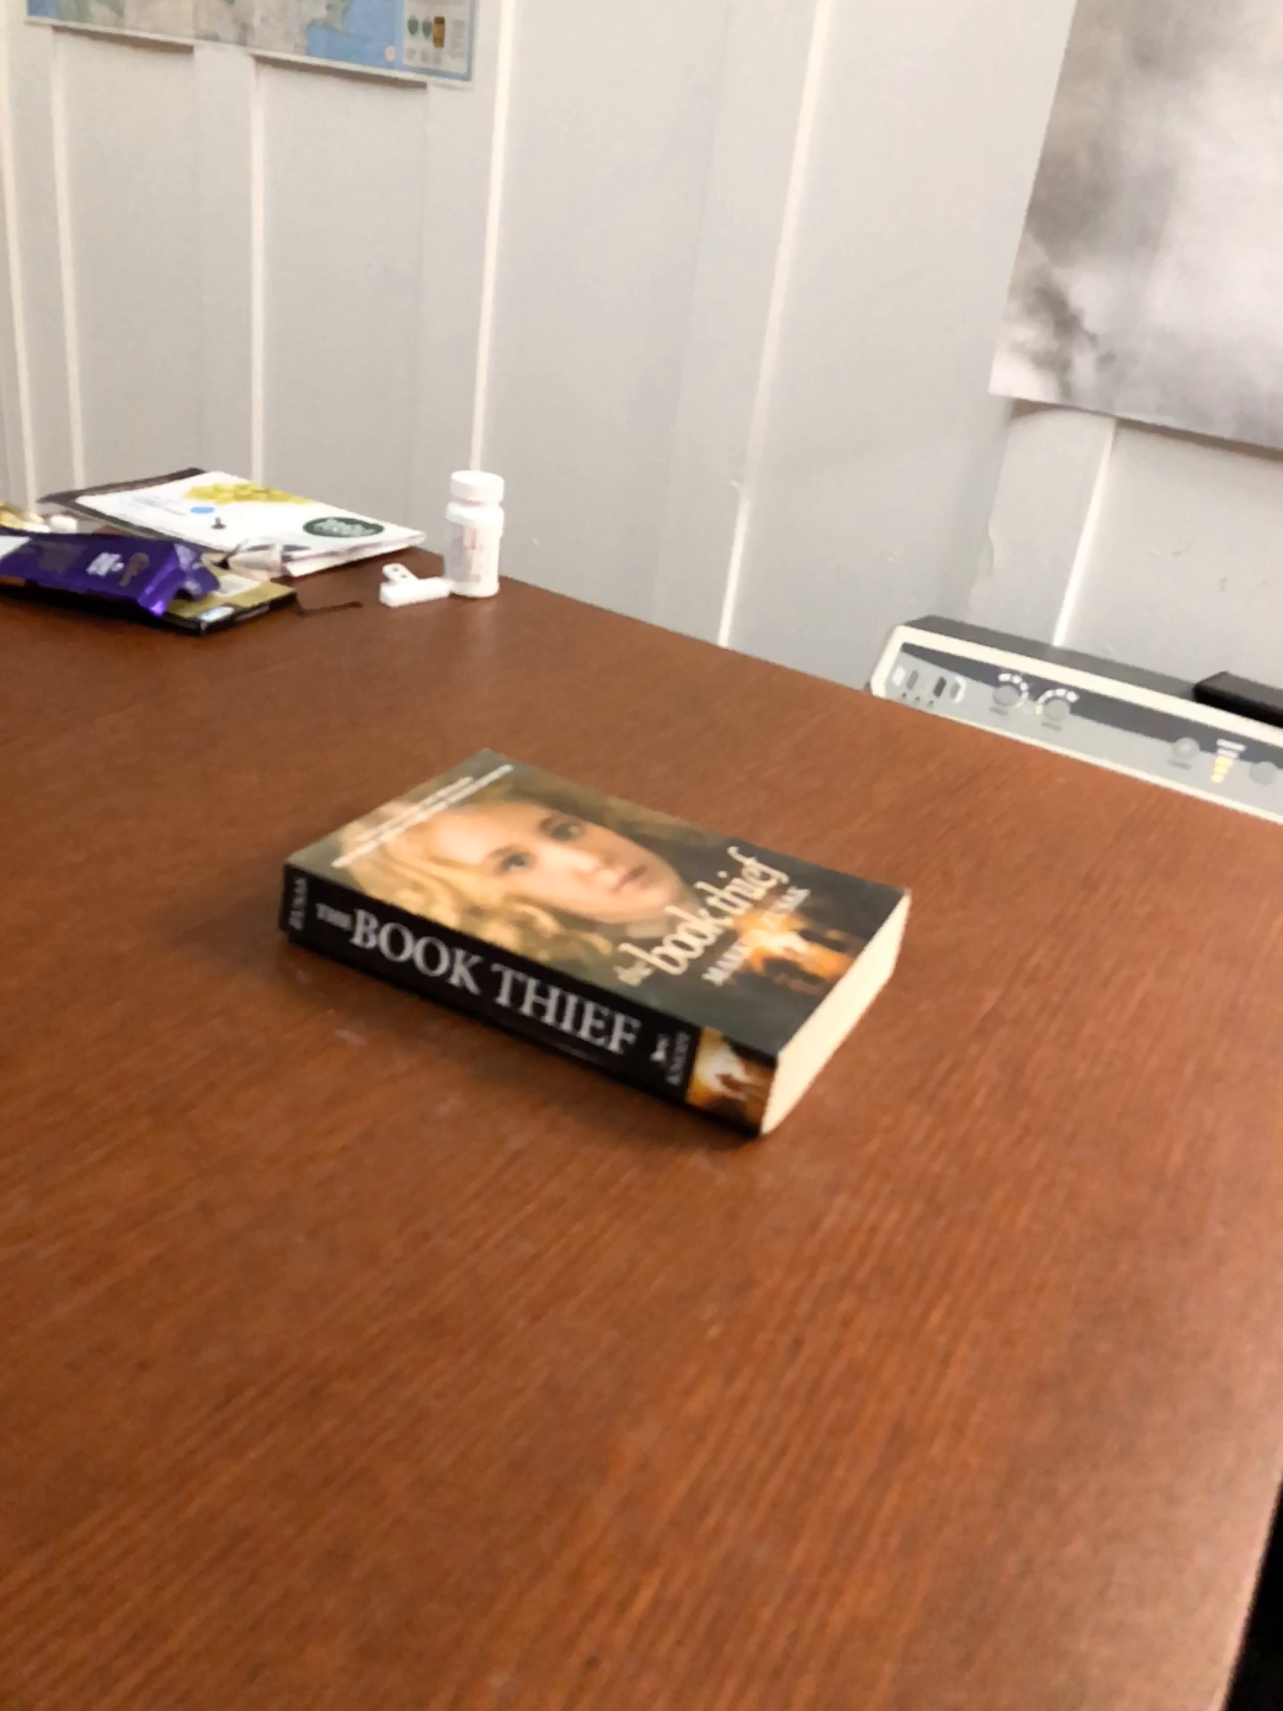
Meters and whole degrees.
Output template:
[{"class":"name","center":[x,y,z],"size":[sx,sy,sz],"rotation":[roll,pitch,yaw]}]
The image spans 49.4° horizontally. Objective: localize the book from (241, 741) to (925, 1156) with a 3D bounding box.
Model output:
[{"class":"book","center":[-0.019,0.022,0.546],"size":[0.220,0.030,0.151],"rotation":[20,29,21]}]
